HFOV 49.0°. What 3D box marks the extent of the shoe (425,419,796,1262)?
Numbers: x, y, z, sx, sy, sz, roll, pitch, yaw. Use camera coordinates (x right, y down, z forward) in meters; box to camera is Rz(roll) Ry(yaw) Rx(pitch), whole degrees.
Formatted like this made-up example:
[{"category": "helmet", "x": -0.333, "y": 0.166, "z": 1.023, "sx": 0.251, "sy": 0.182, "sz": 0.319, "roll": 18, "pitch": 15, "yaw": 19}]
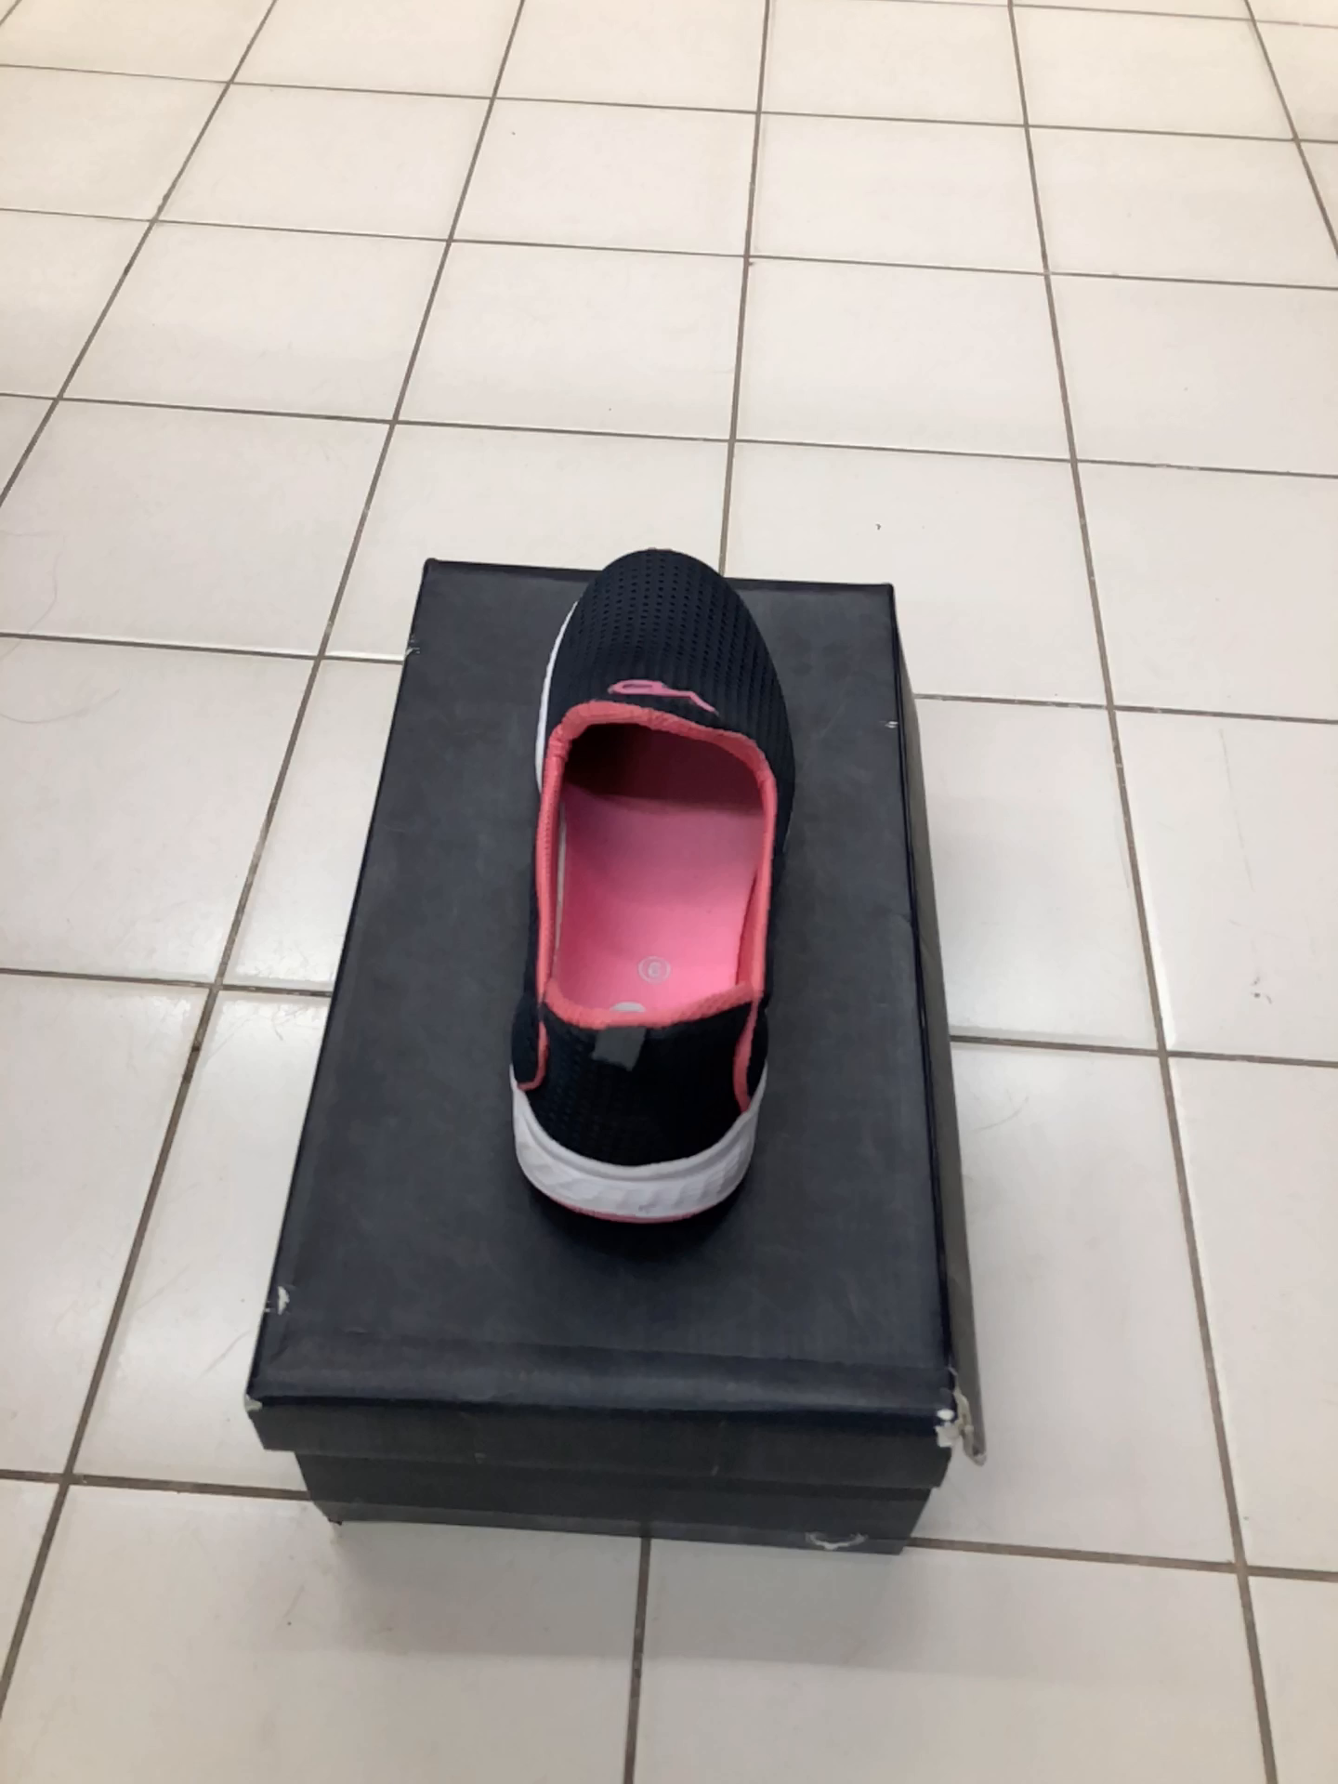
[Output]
[{"category": "shoe", "x": -0.009, "y": -0.029, "z": 0.485, "sx": 0.090, "sy": 0.099, "sz": 0.271, "roll": 4, "pitch": 53, "yaw": 1}]
